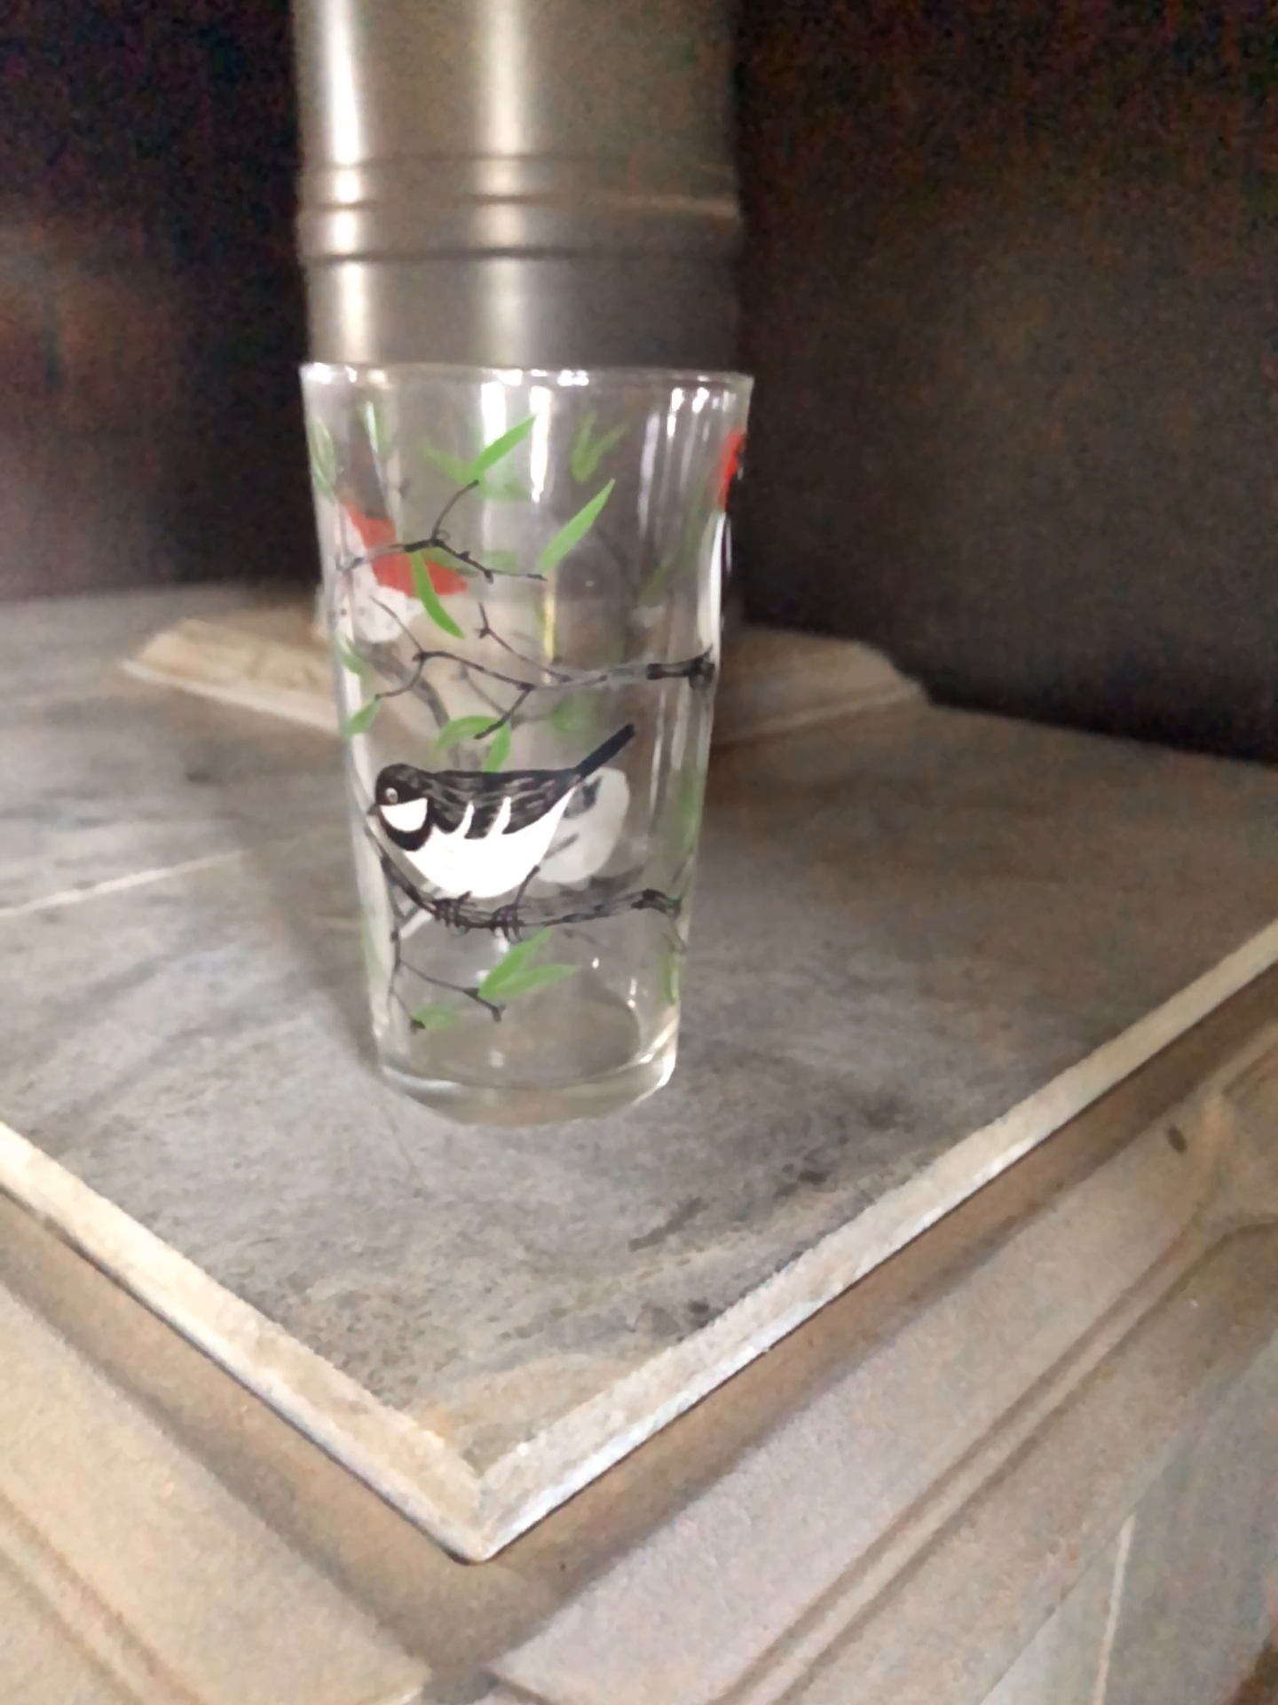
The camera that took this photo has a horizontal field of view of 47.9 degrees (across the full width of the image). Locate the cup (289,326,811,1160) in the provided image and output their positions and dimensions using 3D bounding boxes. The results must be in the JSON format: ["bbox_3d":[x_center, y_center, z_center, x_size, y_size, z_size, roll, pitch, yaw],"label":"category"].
[{"bbox_3d":[-0.018,-0.022,0.226,0.060,0.110,0.070,-5,18,-18],"label":"cup"}]
